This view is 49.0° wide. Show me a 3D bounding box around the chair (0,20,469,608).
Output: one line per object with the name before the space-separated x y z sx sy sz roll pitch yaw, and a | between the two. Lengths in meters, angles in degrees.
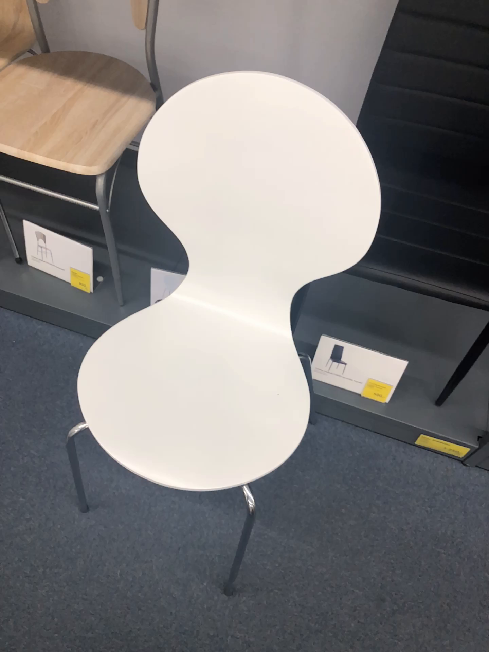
chair | -0.088 0.080 1.016 0.560 0.898 0.541 22 57 8
